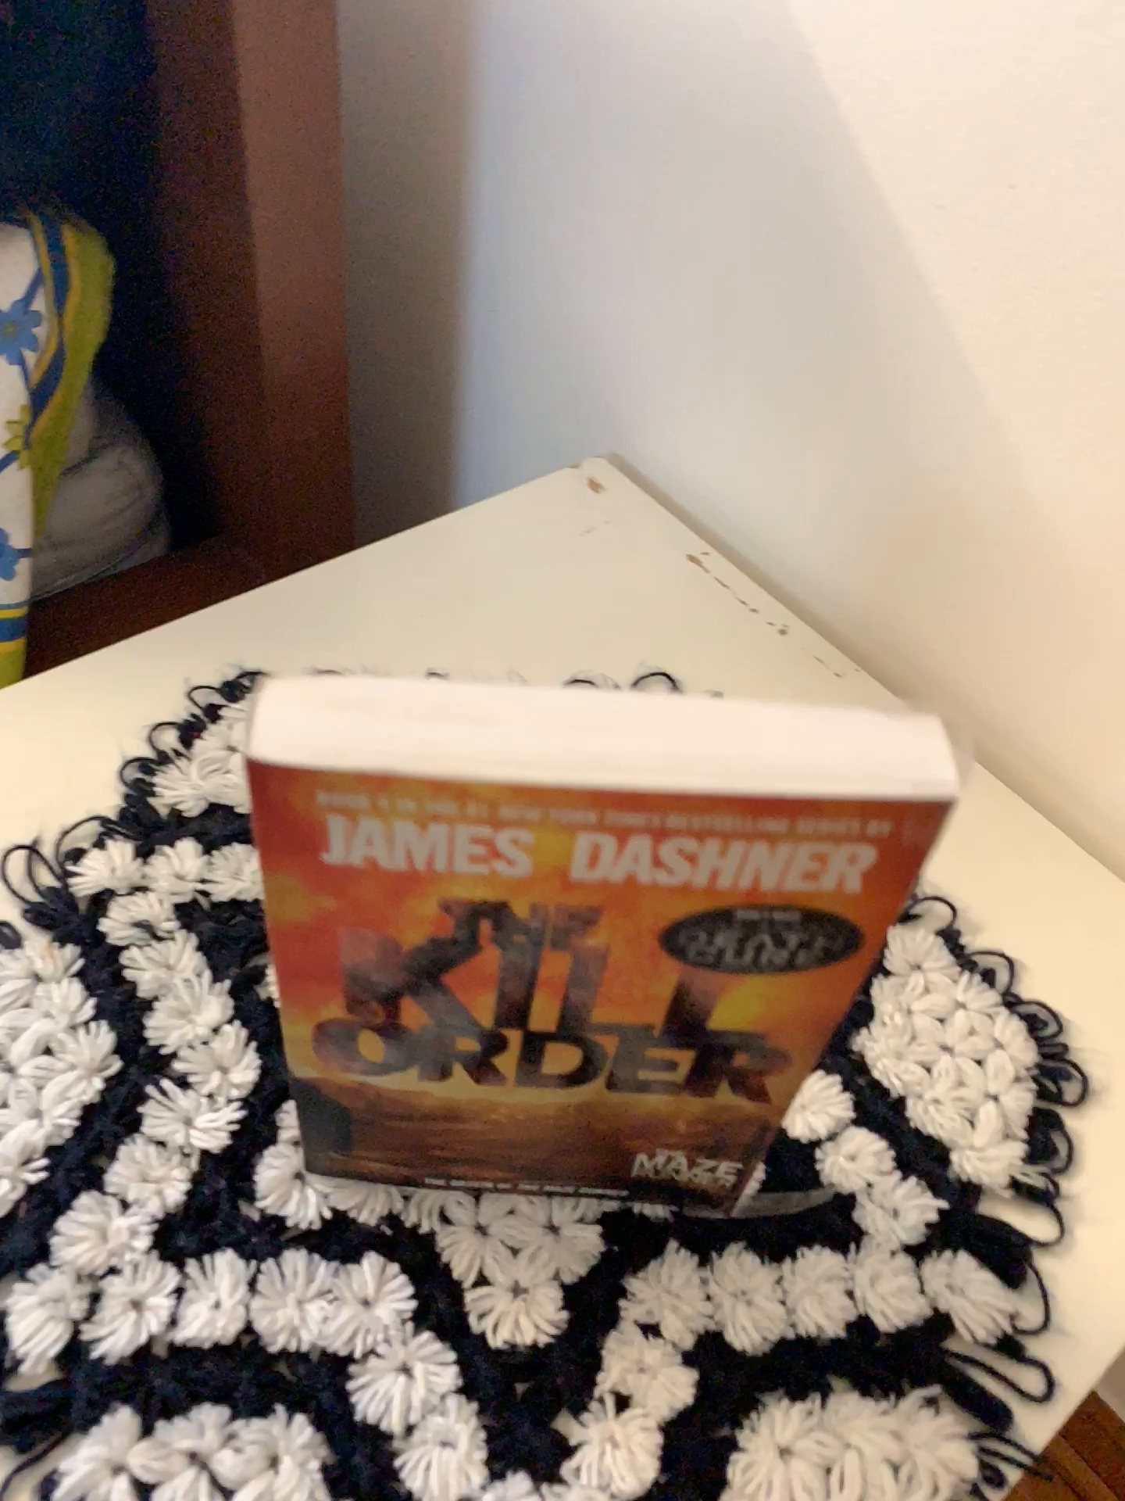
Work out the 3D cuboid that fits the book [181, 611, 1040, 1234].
[{"bbox_3d":[-0.001,0.065,0.302,0.160,0.218,0.030,5,46,-4],"label":"book"}]
